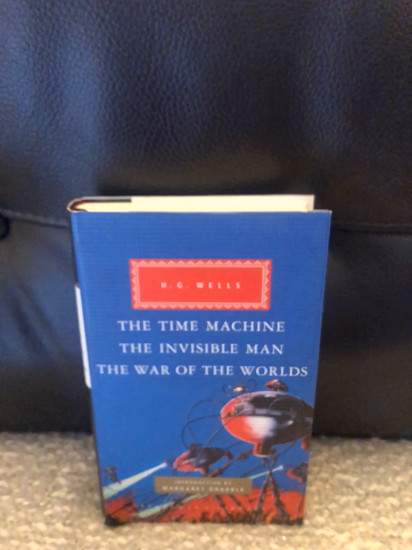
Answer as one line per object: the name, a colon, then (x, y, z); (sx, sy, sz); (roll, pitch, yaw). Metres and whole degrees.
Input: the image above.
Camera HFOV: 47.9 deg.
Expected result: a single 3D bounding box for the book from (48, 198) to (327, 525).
book: (-0.009, 0.065, 0.303); (0.148, 0.225, 0.034); (0, 22, 0)
